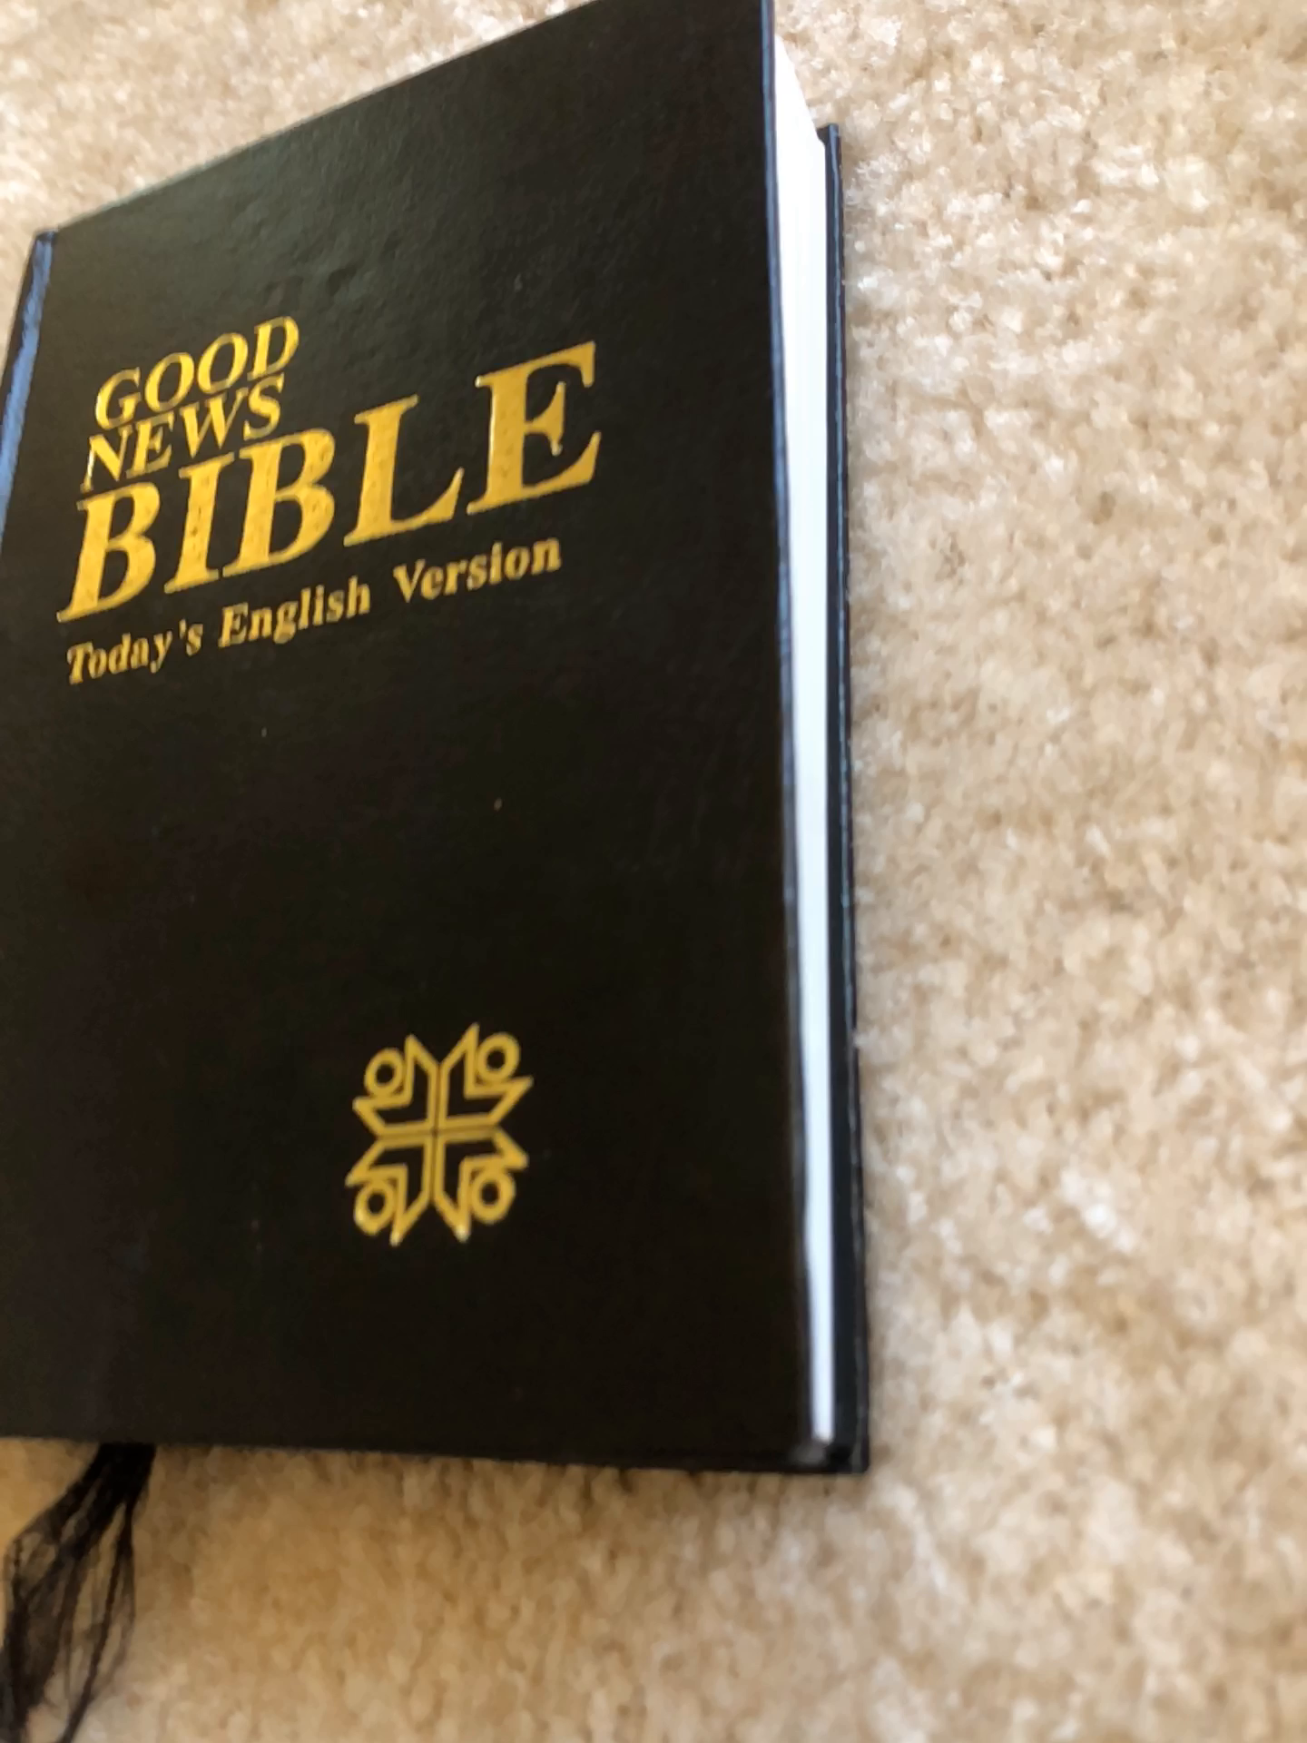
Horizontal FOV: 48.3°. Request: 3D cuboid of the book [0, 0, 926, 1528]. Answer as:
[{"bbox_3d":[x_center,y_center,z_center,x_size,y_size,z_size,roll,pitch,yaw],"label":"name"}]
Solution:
[{"bbox_3d":[-0.036,-0.013,0.176,0.124,0.040,0.160,-8,67,25],"label":"book"}]
